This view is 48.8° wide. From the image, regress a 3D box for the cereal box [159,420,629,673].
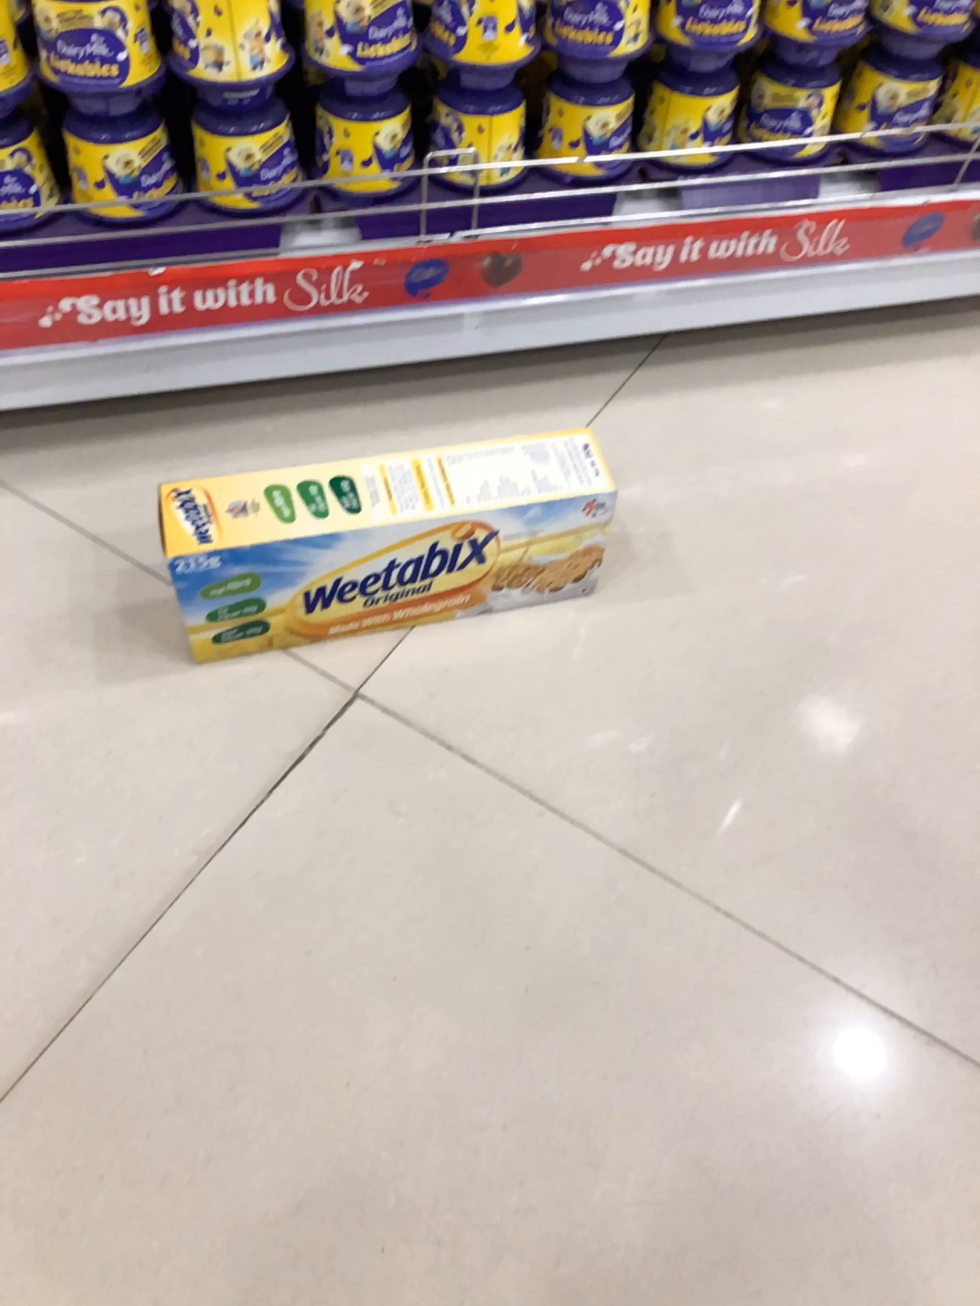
[{"bbox_3d":[-0.054,-0.063,0.634,0.250,0.100,0.060,-10,56,-12],"label":"cereal box"}]
